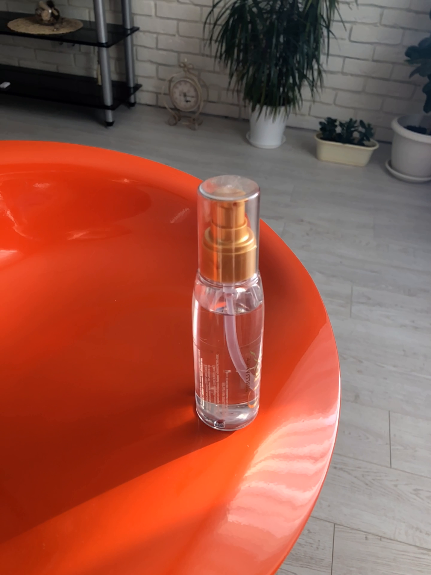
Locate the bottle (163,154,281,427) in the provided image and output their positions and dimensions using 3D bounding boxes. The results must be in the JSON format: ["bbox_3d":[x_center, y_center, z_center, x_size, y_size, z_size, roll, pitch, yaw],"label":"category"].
[{"bbox_3d":[0.005,0.008,0.264,0.050,0.149,0.050,-2,36,1],"label":"bottle"}]
